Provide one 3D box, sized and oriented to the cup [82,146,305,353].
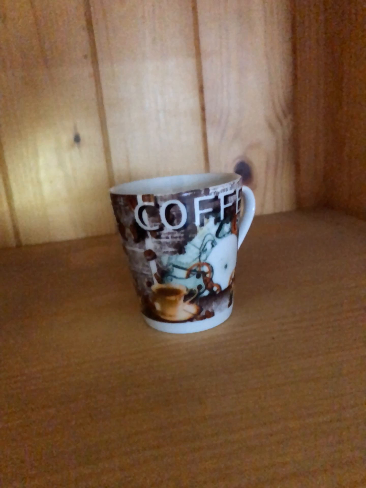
[{"bbox_3d":[0.005,-0.006,0.193,0.080,0.070,0.060,-13,17,-26],"label":"cup"}]
